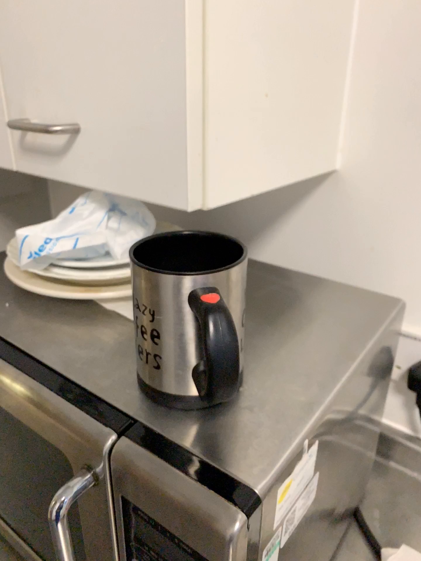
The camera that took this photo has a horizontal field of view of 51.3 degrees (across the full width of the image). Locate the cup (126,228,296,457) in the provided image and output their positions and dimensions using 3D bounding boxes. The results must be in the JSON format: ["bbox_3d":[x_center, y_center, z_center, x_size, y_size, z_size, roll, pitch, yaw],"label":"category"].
[{"bbox_3d":[-0.010,0.034,0.330,0.096,0.108,0.134,-4,23,-11],"label":"cup"}]
